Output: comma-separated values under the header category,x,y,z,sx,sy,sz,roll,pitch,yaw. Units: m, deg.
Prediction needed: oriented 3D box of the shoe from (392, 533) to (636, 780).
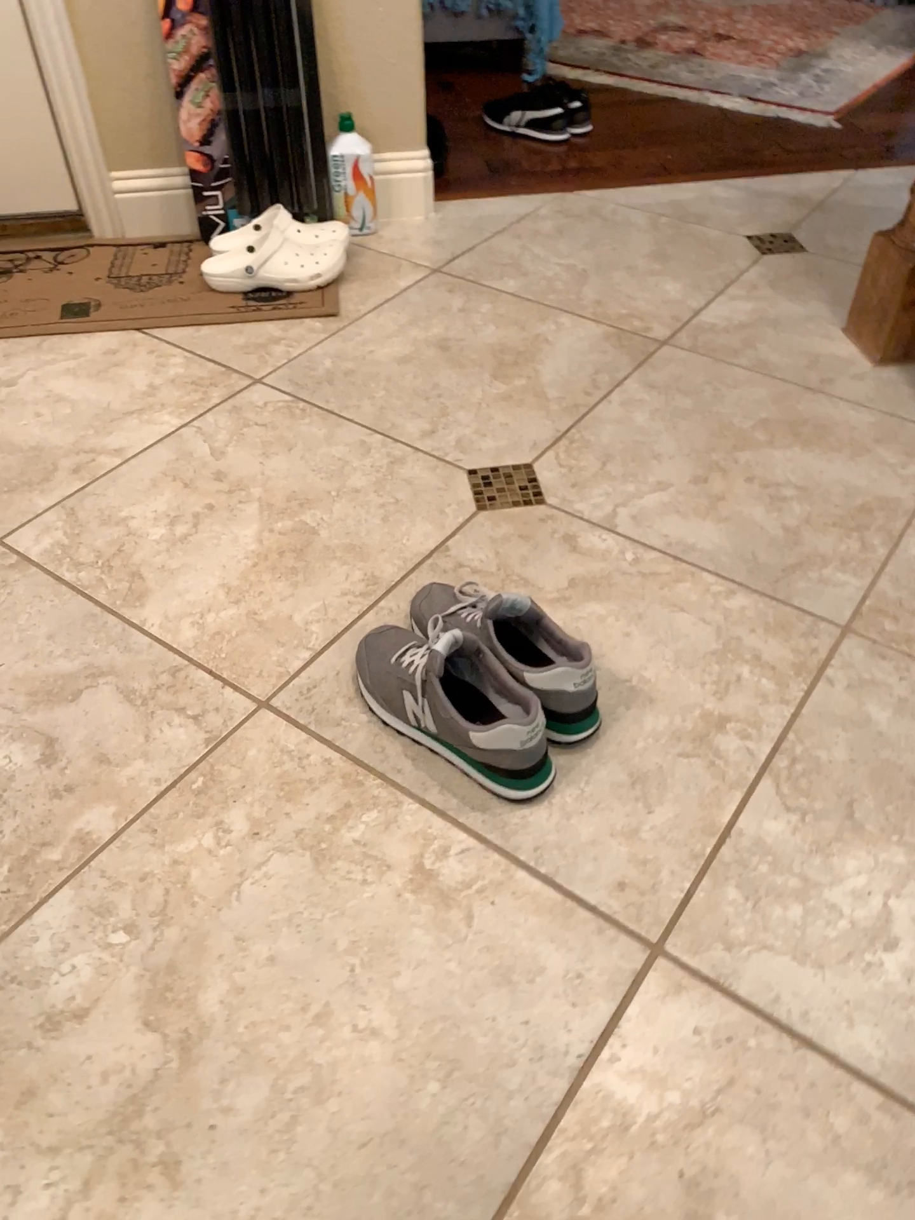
category,x,y,z,sx,sy,sz,roll,pitch,yaw
shoe,0.056,0.044,1.065,0.115,0.103,0.275,-29,51,-26

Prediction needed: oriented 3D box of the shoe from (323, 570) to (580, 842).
category,x,y,z,sx,sy,sz,roll,pitch,yaw
shoe,-0.013,0.093,1.009,0.115,0.103,0.285,-29,51,-26
